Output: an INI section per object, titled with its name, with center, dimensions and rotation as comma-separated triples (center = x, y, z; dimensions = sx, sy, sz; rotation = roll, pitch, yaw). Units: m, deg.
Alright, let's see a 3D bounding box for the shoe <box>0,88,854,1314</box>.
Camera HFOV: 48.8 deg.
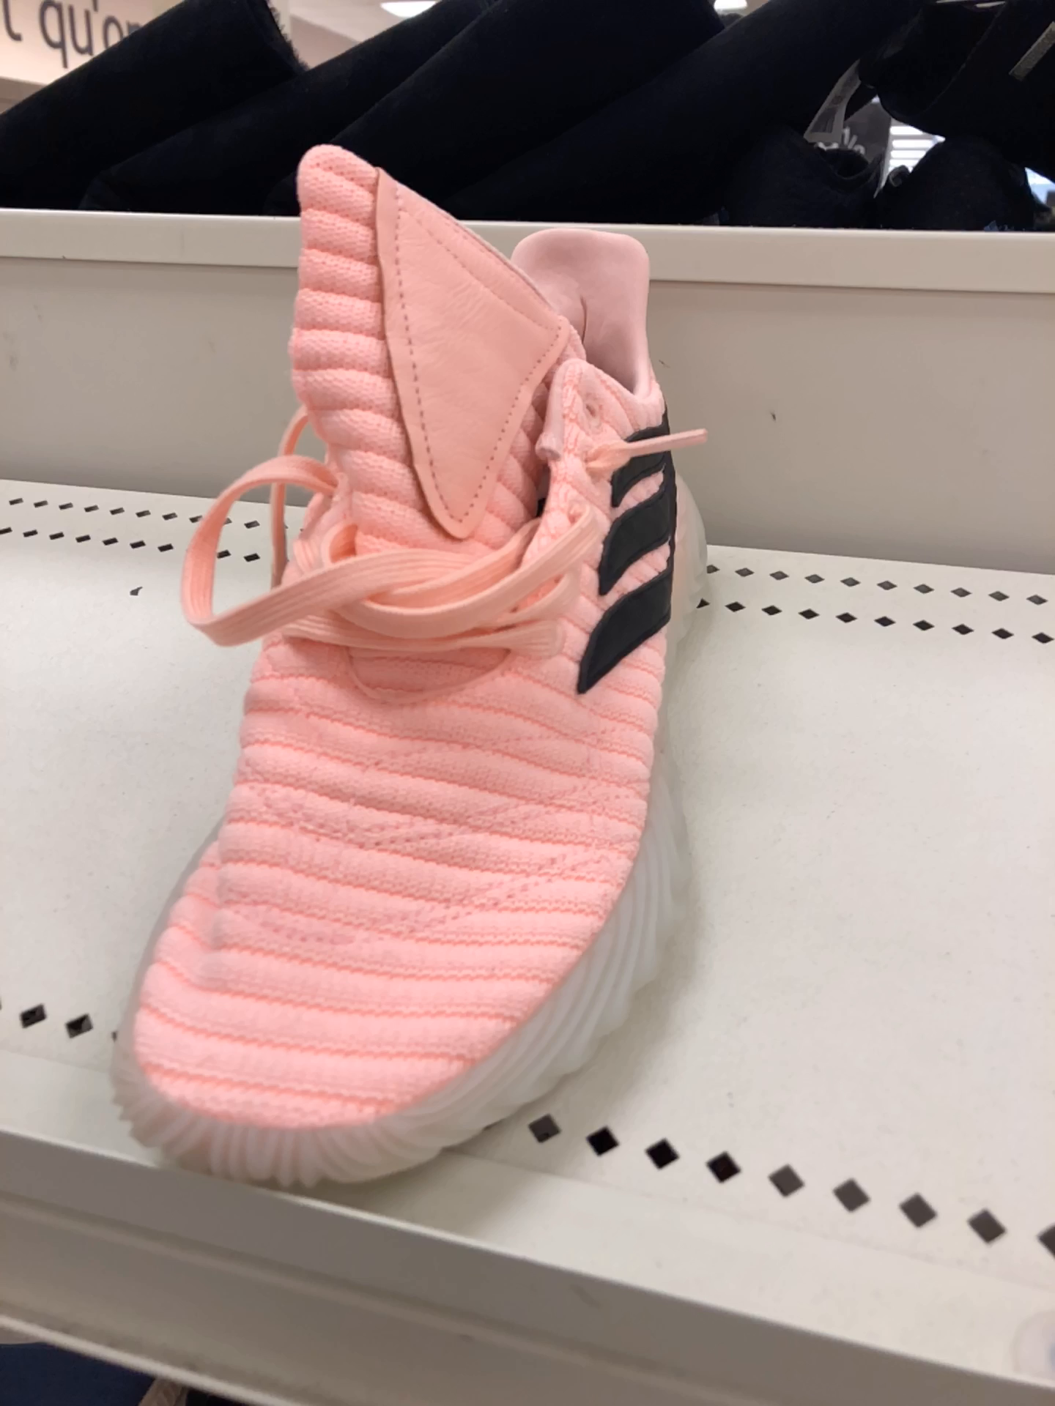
[shoe]
center = 0.001, -0.053, 0.311
dimensions = 0.120, 0.169, 0.323
rotation = 8, 33, 17
